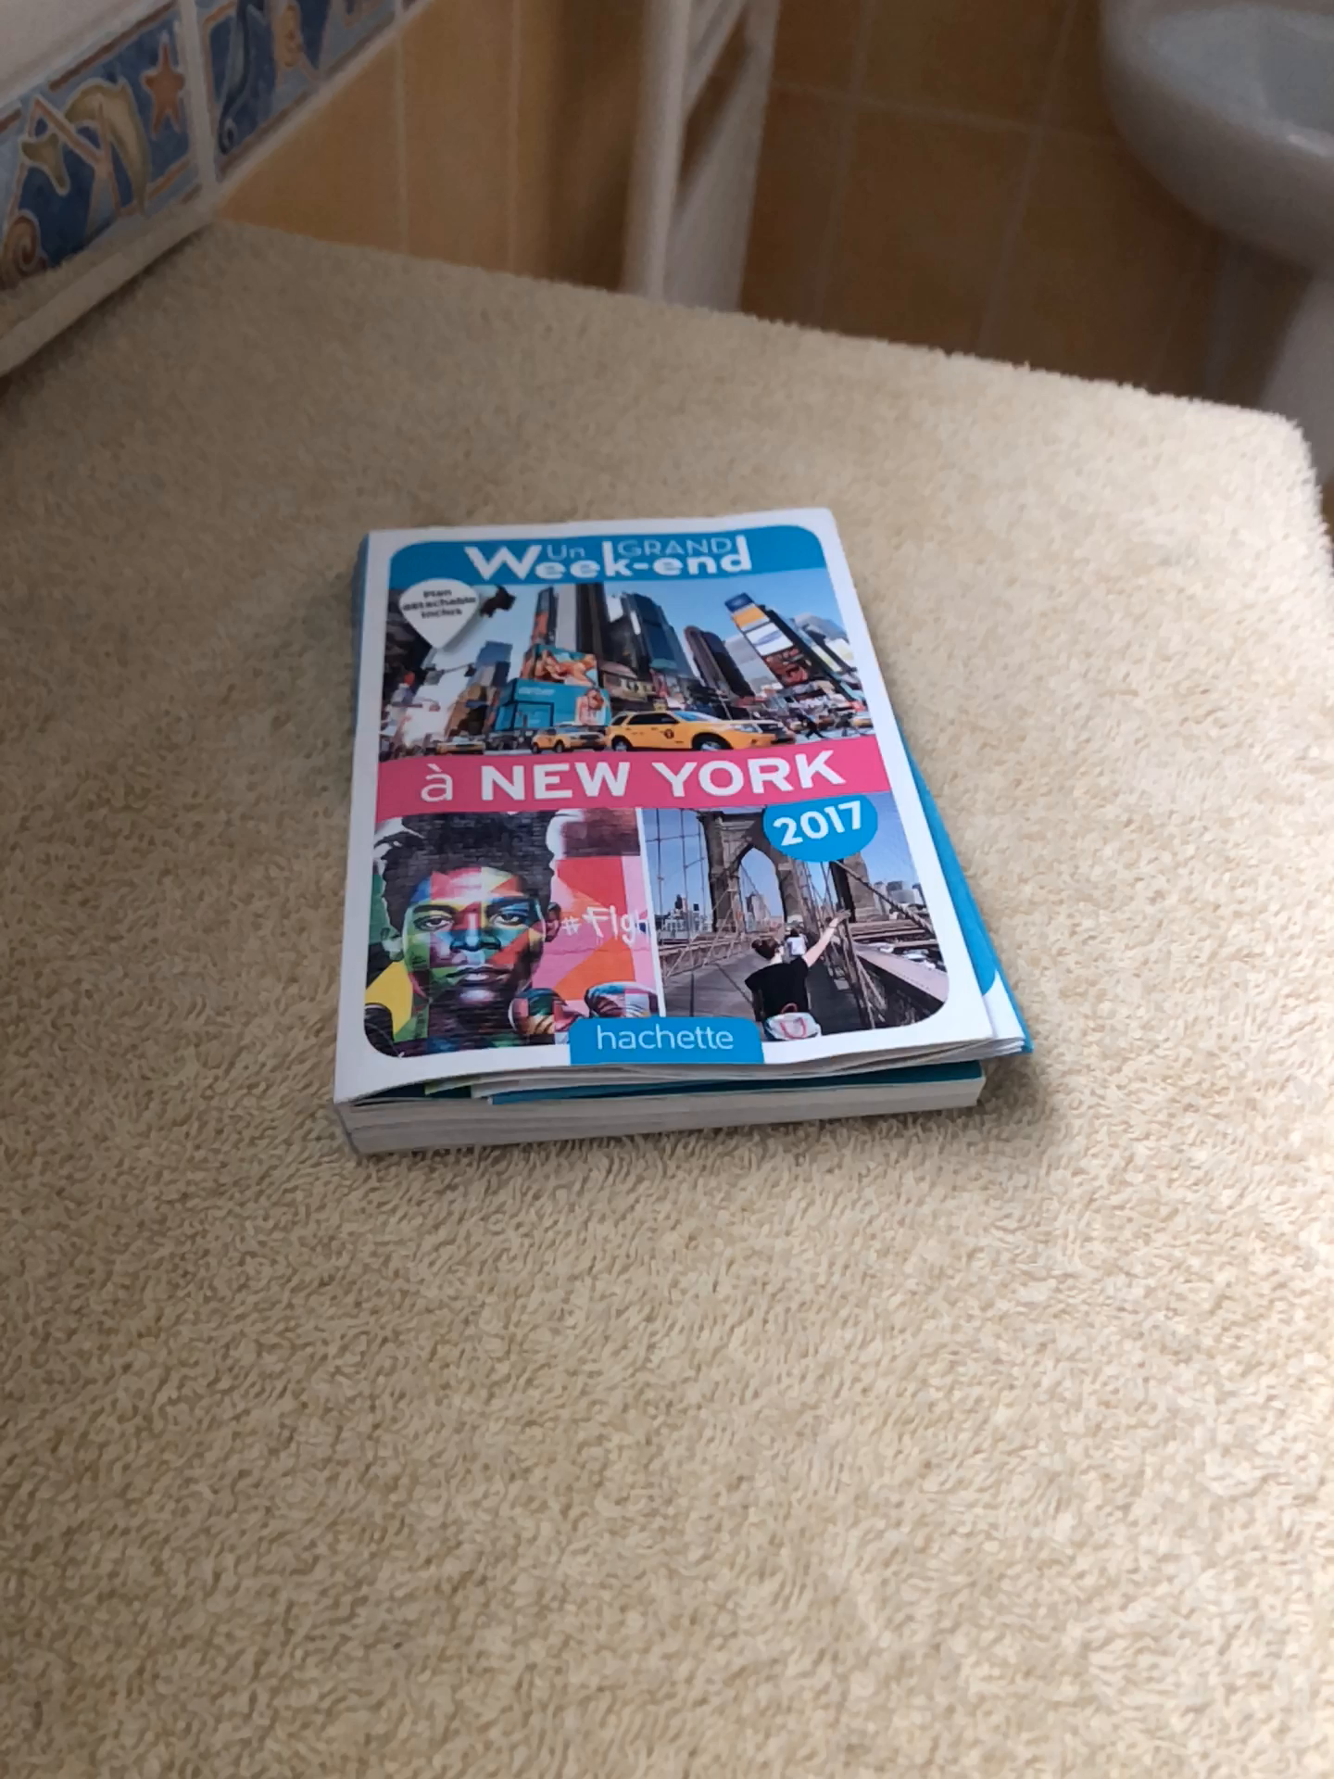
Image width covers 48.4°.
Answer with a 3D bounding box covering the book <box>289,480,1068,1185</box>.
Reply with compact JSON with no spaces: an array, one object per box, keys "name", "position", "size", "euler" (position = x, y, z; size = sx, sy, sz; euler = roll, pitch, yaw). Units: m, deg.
[{"name":"book","position":[-0.006,-0.023,0.289],"size":[0.120,0.020,0.161],"euler":[-5,47,-4]}]
